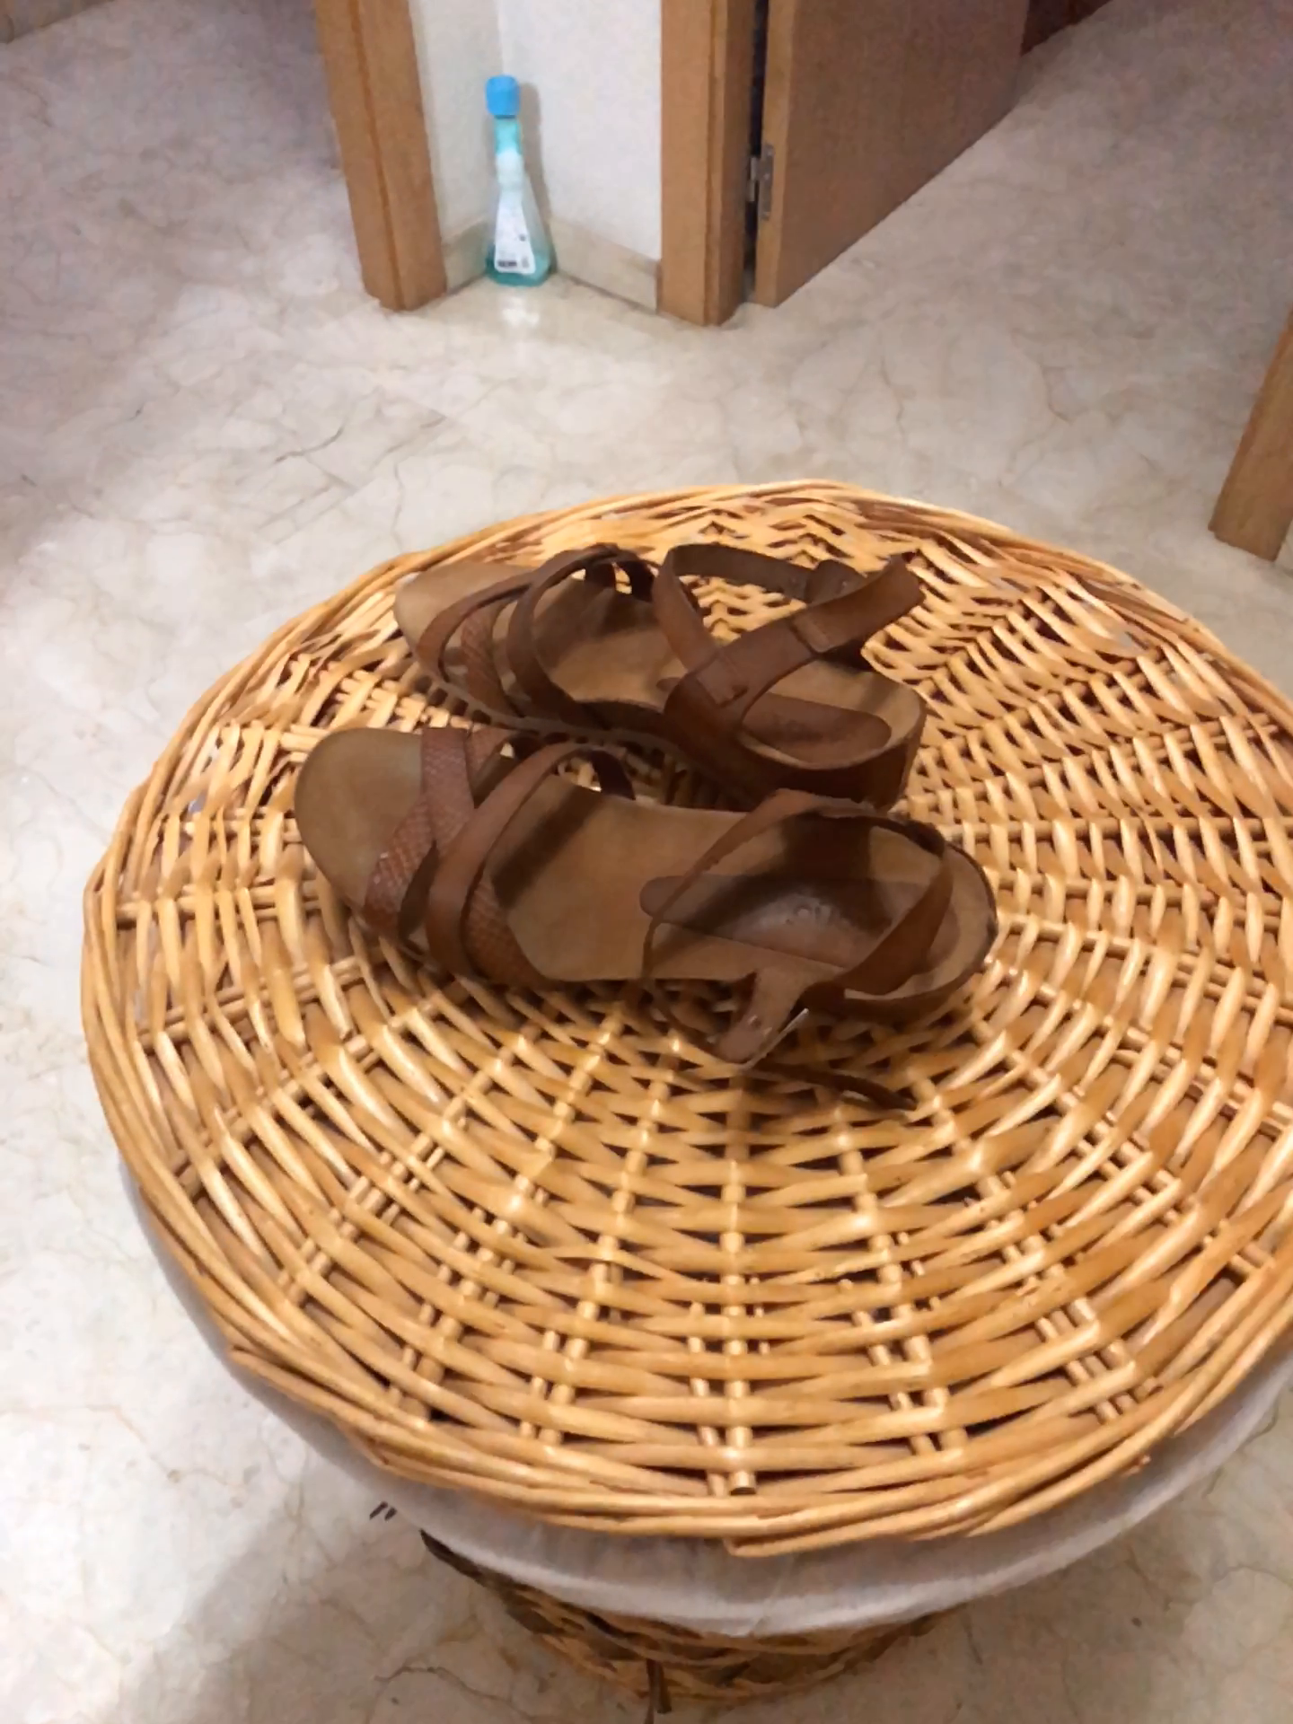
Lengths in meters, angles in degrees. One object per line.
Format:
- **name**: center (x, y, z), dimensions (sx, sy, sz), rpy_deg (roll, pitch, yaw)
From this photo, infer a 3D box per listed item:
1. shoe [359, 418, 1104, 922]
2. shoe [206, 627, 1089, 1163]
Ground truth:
- **shoe**: center (0.024, -0.089, 0.565), dimensions (0.280, 0.070, 0.100), rpy_deg (28, 56, 32)
- **shoe**: center (0.000, 0.004, 0.505), dimensions (0.280, 0.060, 0.100), rpy_deg (16, 53, 14)
